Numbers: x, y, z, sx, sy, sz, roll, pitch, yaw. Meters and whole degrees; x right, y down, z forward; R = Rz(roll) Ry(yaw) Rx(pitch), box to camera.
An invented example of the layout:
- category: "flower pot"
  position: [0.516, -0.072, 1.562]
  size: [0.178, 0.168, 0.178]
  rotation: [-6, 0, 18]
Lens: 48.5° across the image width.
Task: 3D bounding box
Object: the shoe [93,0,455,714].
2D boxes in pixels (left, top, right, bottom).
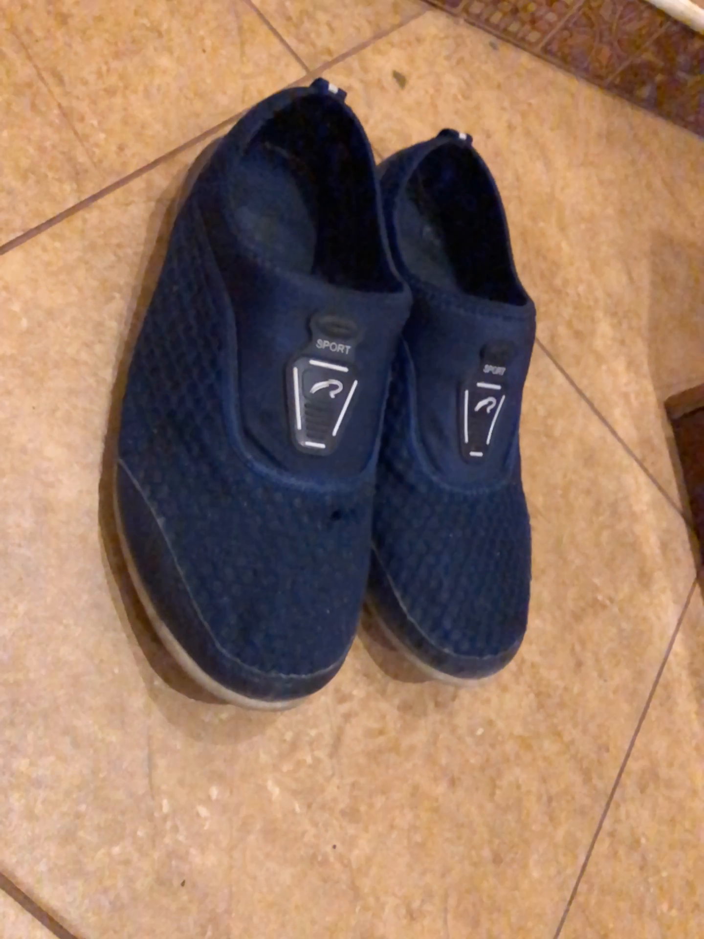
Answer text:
- category: "shoe"
  position: [-0.032, -0.051, 0.330]
  size: [0.110, 0.070, 0.291]
  rotation: [10, 67, -30]

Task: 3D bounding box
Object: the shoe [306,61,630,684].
- category: "shoe"
  position: [0.049, -0.047, 0.394]
  size: [0.110, 0.070, 0.291]
  rotation: [7, 69, -31]
